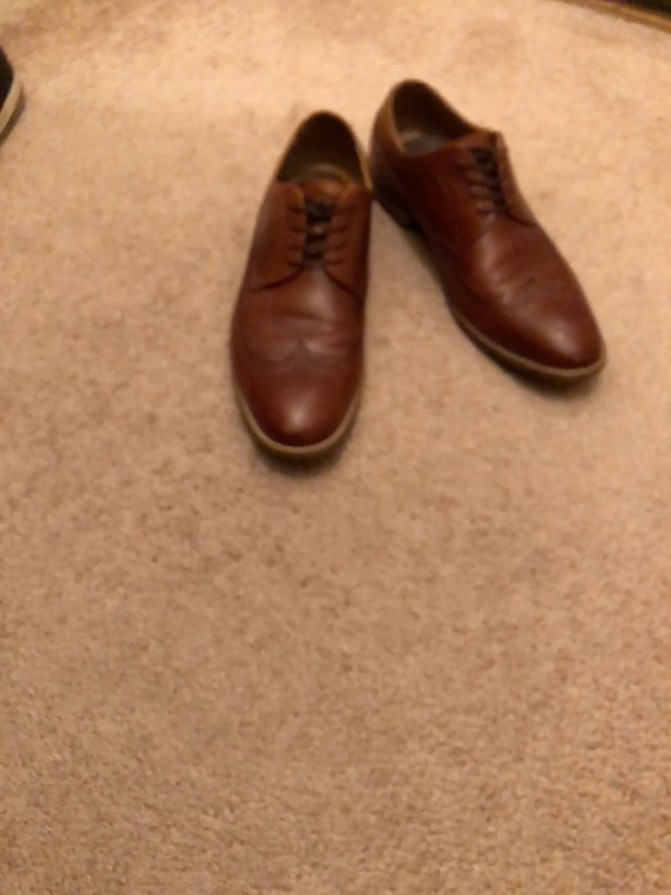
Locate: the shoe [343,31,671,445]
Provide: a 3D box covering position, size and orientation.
[{"bbox_3d":[0.124,-0.173,0.585,0.115,0.115,0.311,-20,61,-13],"label":"shoe"}]

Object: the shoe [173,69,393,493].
[{"bbox_3d":[-0.025,-0.134,0.564,0.115,0.115,0.311,4,58,1],"label":"shoe"}]
